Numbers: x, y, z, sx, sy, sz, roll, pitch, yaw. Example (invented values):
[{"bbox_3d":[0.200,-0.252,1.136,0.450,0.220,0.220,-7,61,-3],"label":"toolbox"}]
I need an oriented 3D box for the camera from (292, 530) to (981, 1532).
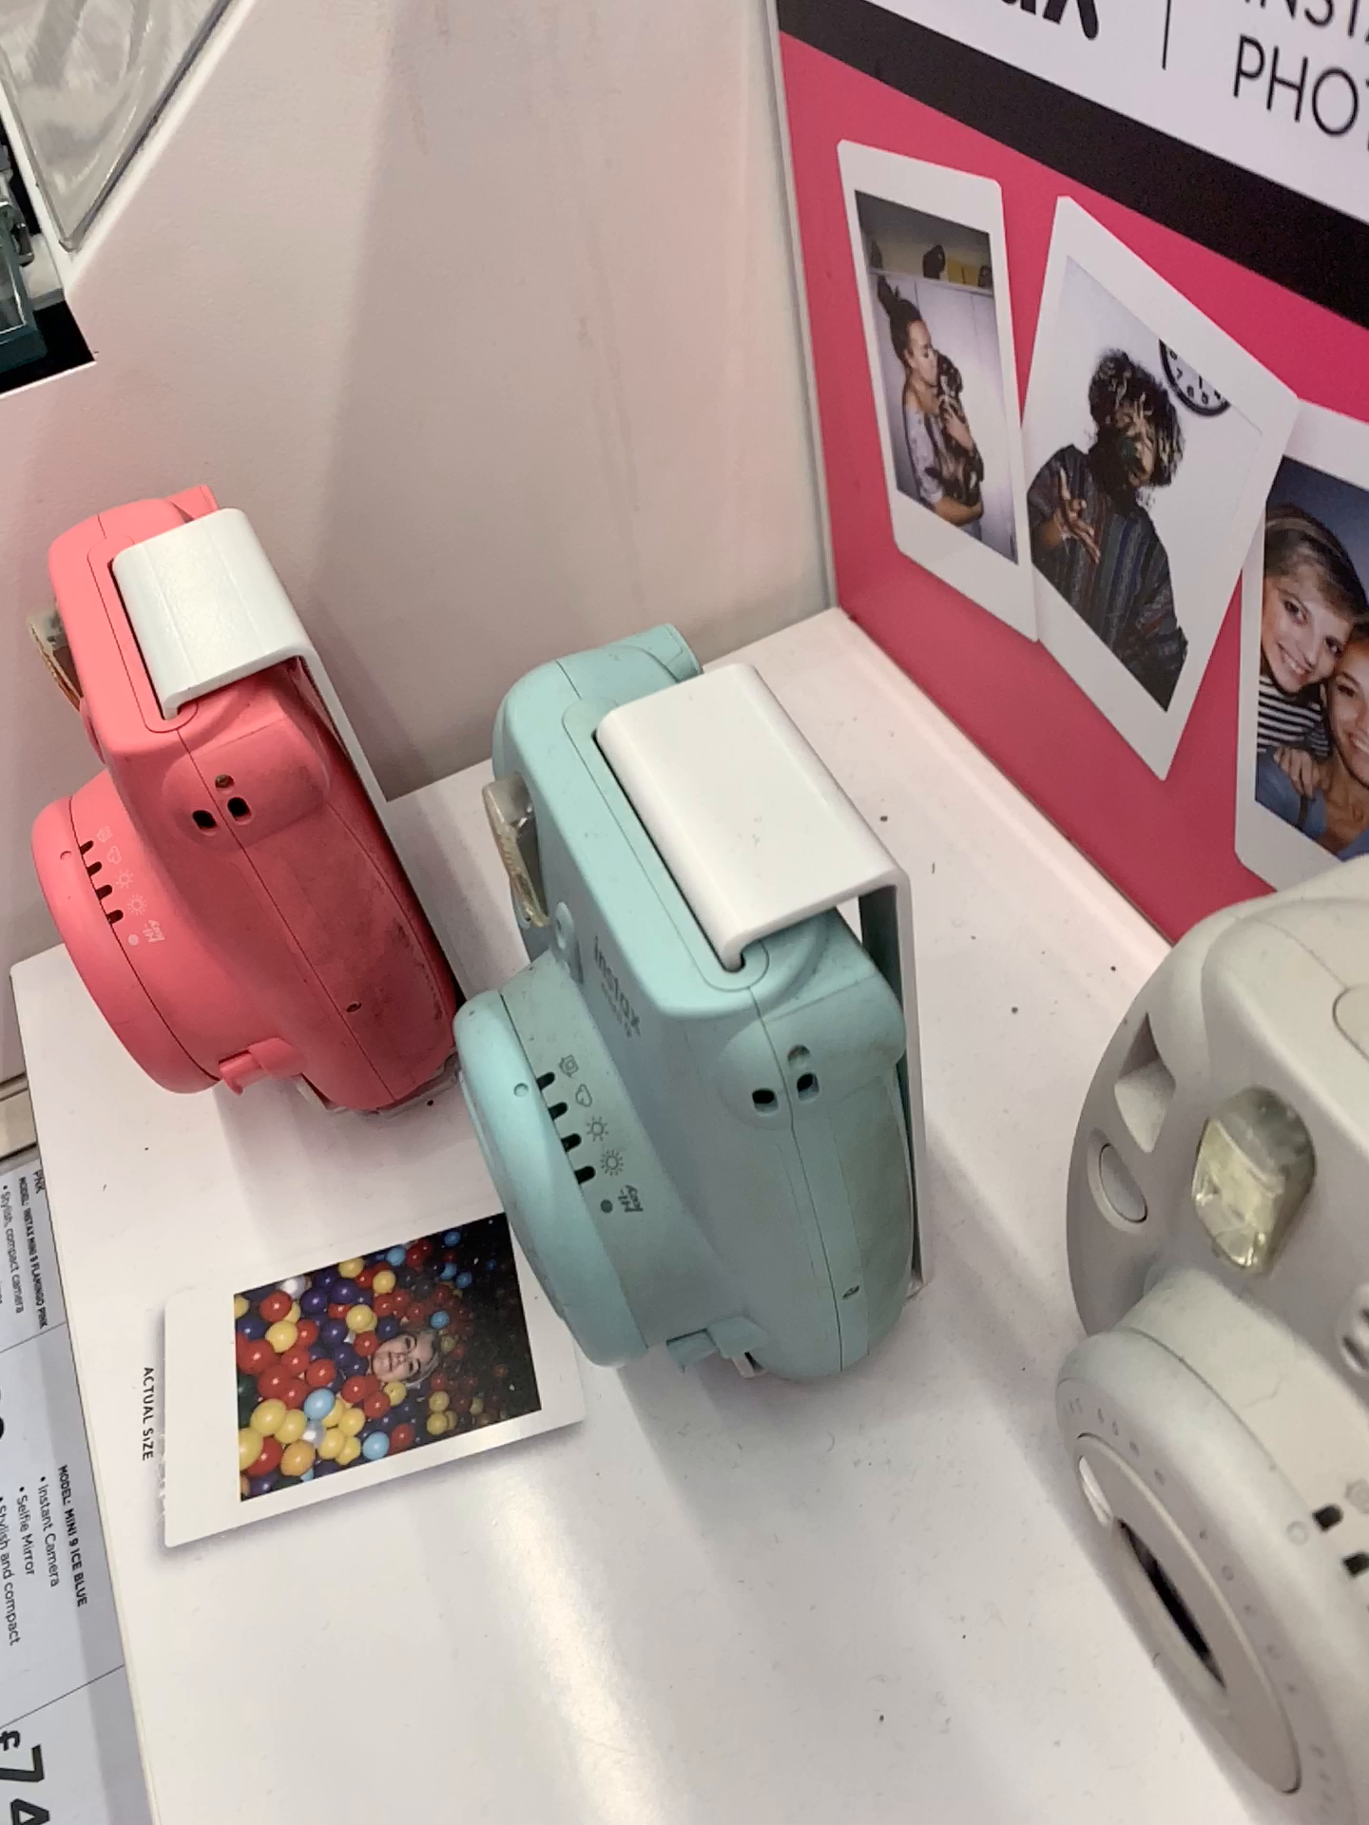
[{"bbox_3d":[-0.005,0.024,0.257,0.070,0.129,0.111,-22,49,-7],"label":"camera"}]
